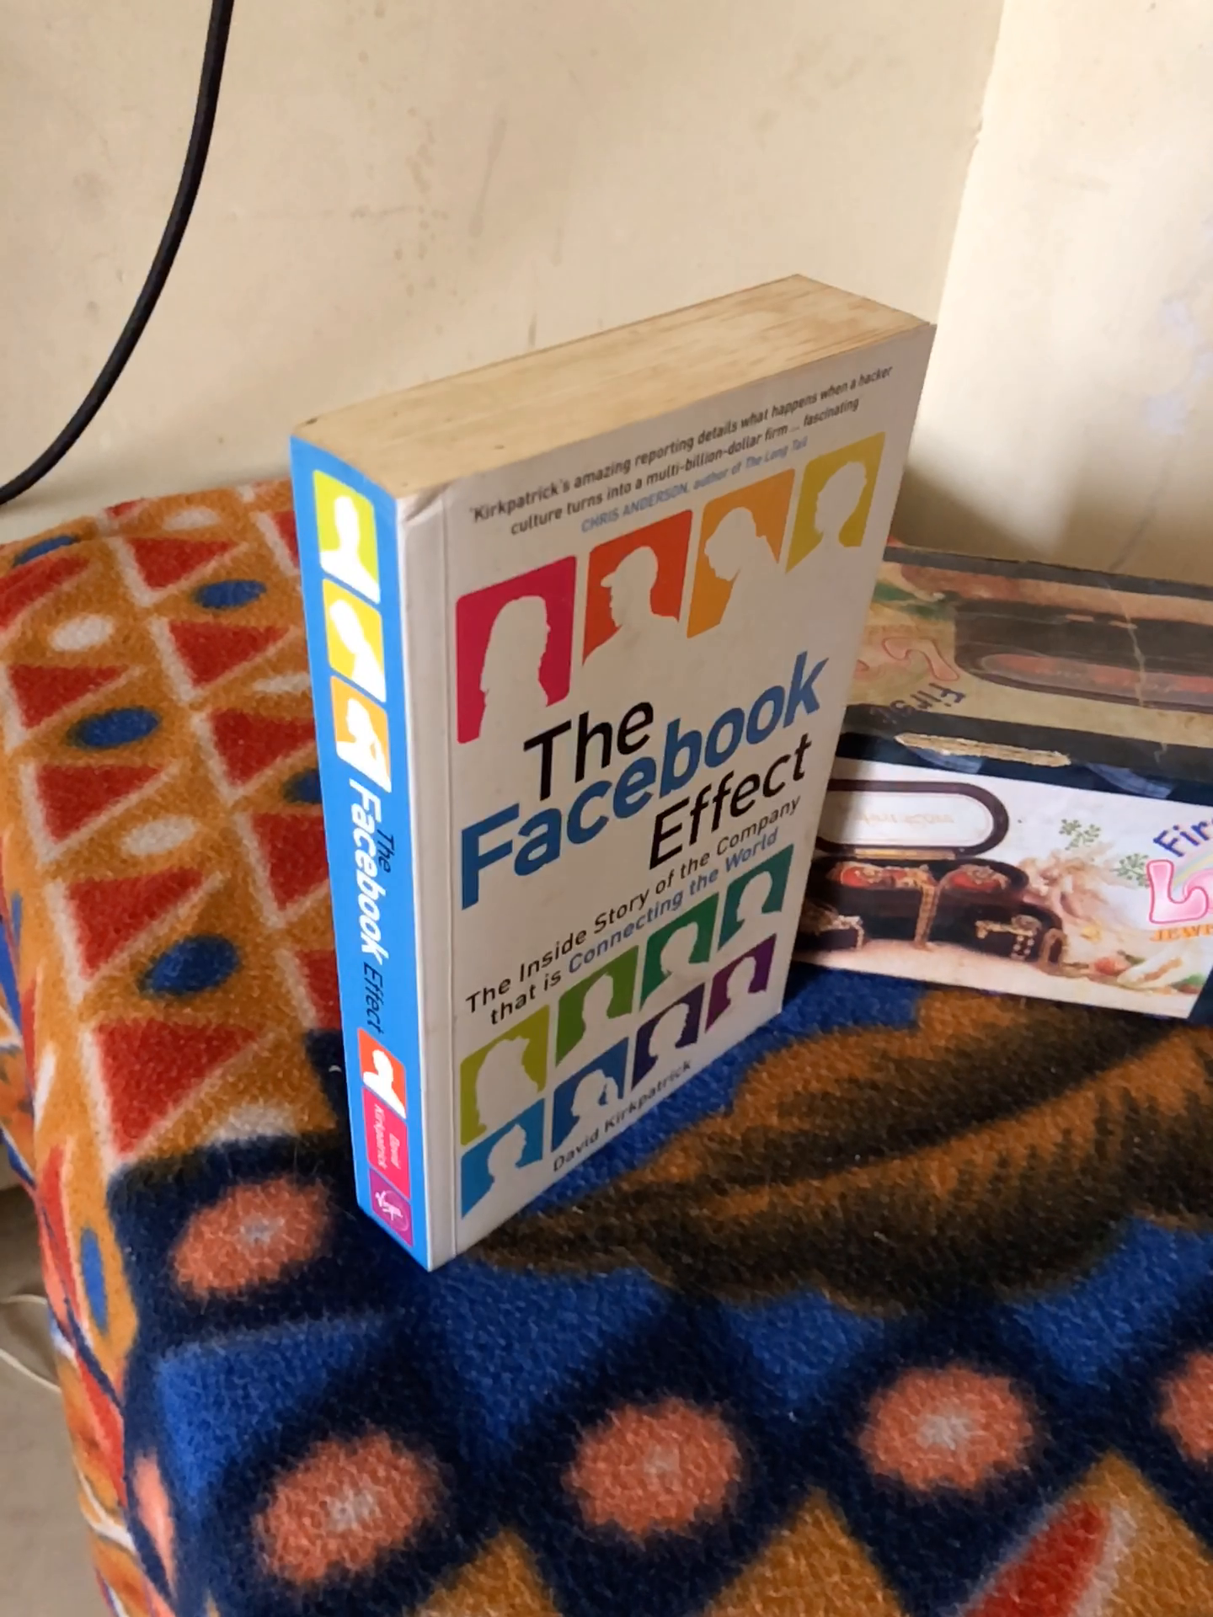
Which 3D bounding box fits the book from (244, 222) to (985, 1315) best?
[{"bbox_3d":[0.004,-0.005,0.312,0.150,0.219,0.040,-28,47,-36],"label":"book"}]
